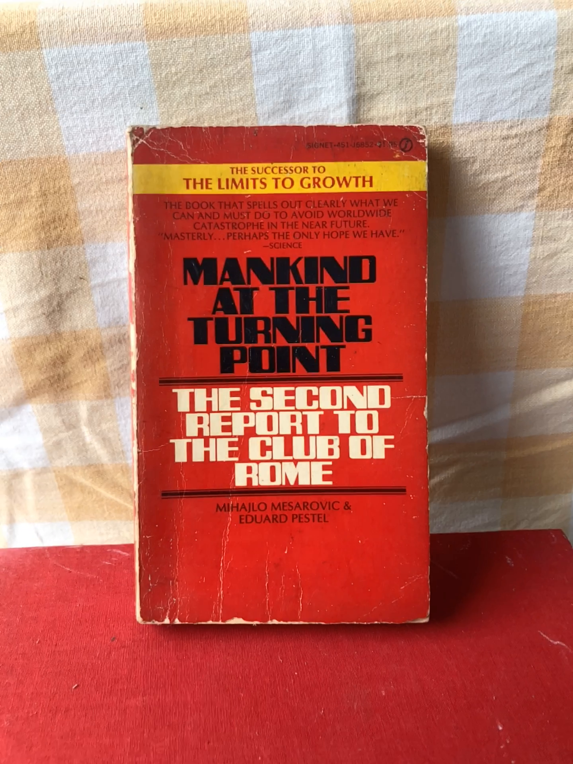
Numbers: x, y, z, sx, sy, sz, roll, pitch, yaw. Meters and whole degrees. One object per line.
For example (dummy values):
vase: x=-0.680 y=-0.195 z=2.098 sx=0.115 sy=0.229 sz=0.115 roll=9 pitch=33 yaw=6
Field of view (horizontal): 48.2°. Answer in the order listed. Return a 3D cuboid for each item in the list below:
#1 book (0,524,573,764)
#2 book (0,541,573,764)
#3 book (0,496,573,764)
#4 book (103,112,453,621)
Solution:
book: x=-0.009 y=0.150 z=0.256 sx=0.270 sy=0.040 sz=0.191 roll=-4 pitch=34 yaw=2
book: x=-0.006 y=0.154 z=0.243 sx=0.240 sy=0.040 sz=0.191 roll=-4 pitch=34 yaw=2
book: x=-0.005 y=0.137 z=0.259 sx=0.280 sy=0.040 sz=0.191 roll=-4 pitch=34 yaw=2
book: x=-0.001 y=-0.003 z=0.234 sx=0.110 sy=0.170 sz=0.040 roll=-1 pitch=9 yaw=0
